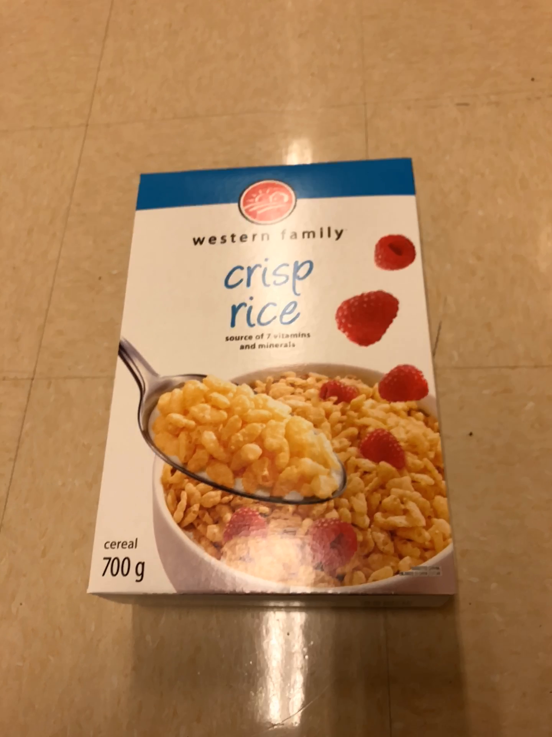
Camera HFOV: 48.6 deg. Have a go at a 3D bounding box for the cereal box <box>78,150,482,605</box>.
[{"bbox_3d":[0.005,-0.002,0.450,0.230,0.080,0.321,-2,64,7],"label":"cereal box"}]
